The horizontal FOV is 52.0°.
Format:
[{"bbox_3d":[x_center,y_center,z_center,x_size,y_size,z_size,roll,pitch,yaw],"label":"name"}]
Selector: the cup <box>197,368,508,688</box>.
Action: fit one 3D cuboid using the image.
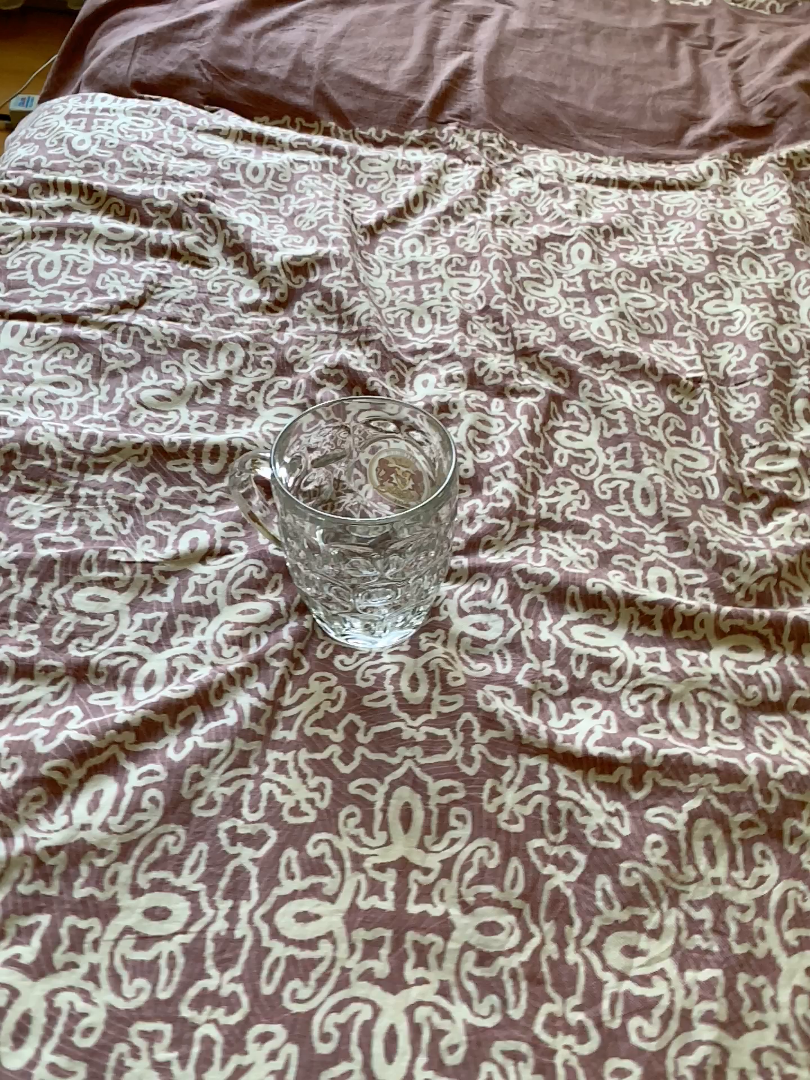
[{"bbox_3d":[-0.022,-0.007,0.423,0.117,0.099,0.093,16,50,13],"label":"cup"}]
